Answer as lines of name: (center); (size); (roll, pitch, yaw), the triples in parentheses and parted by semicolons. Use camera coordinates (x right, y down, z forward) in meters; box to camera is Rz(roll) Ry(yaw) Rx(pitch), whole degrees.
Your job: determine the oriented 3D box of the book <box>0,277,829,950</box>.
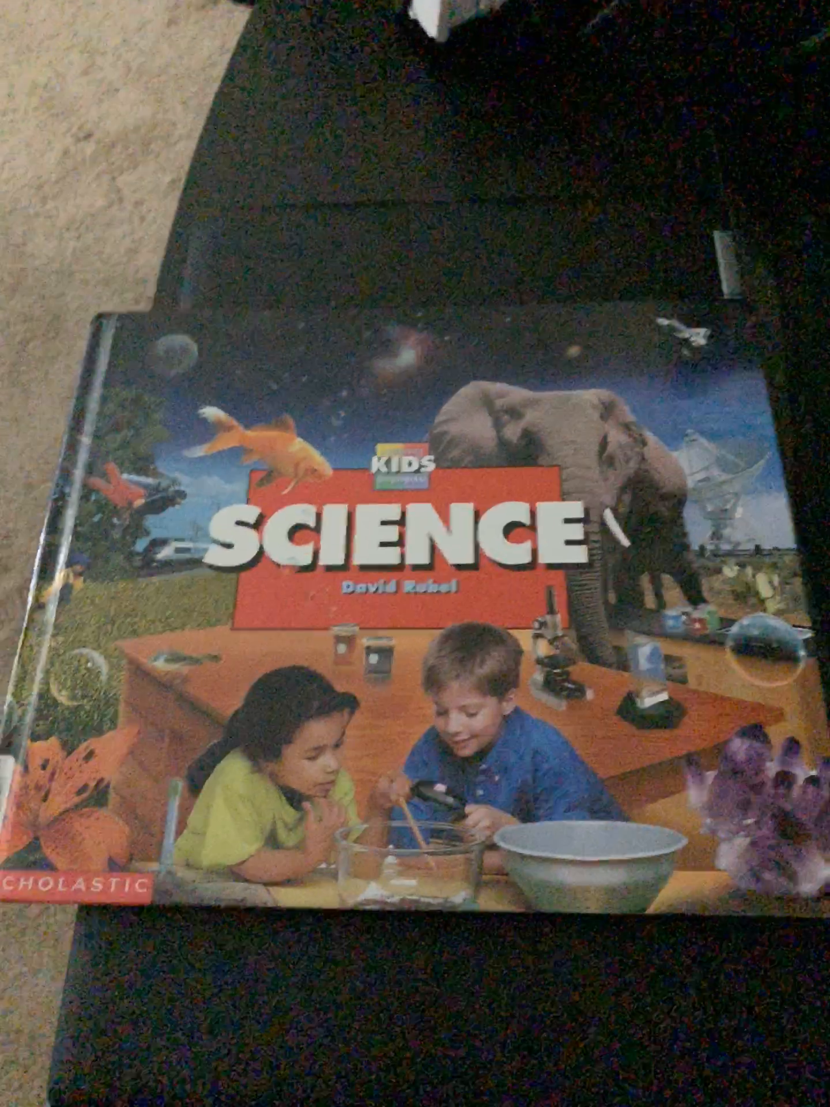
book: (-0.004, 0.008, 0.312); (0.280, 0.030, 0.241); (0, 65, 5)
